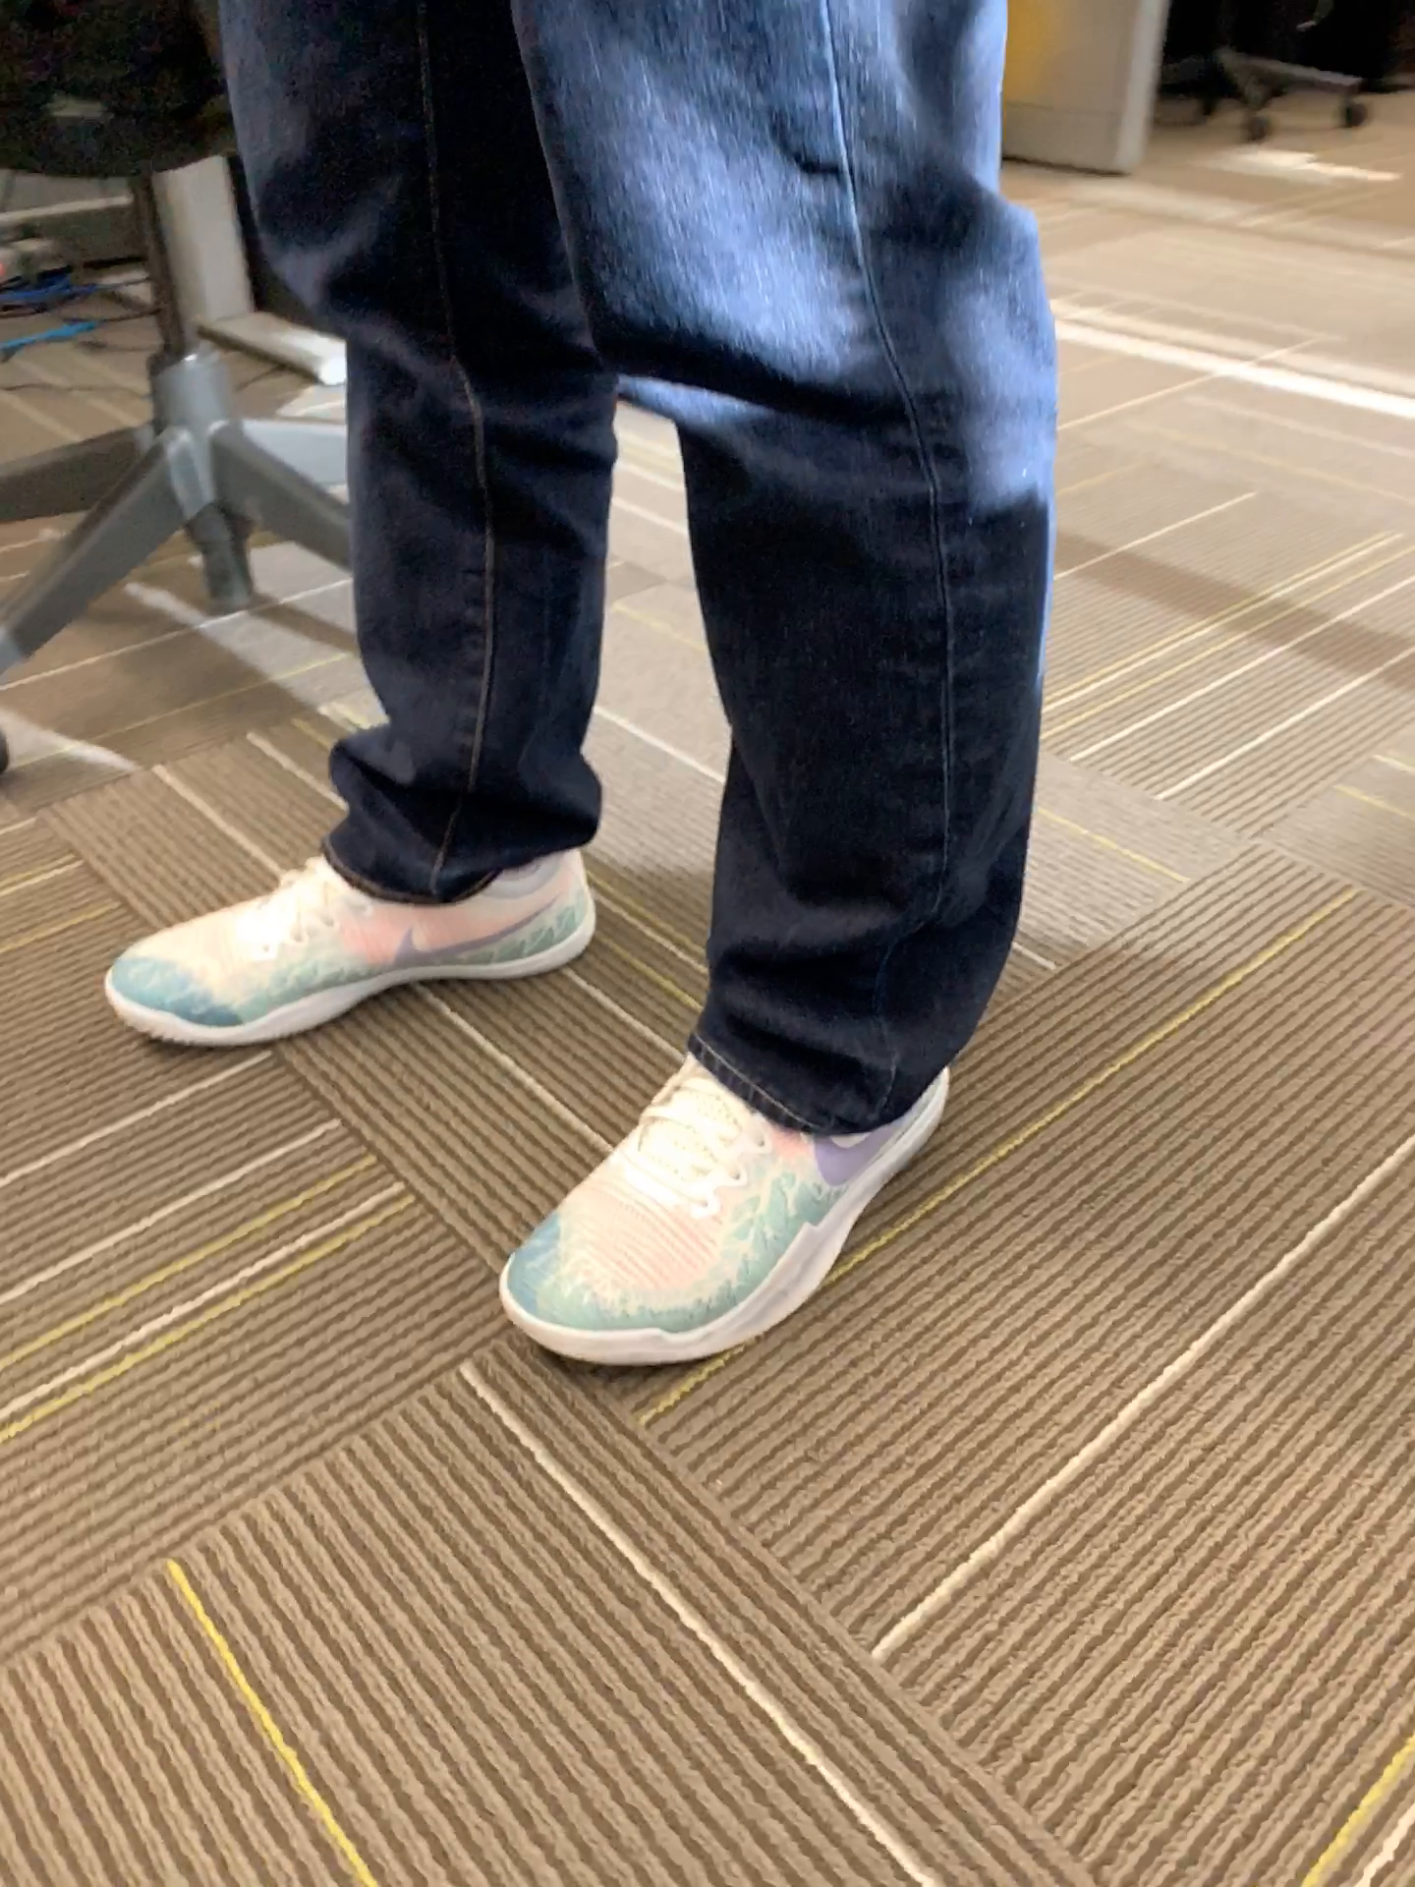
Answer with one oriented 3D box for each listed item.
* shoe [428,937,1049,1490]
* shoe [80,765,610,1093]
[{"bbox_3d":[0.024,0.114,0.710,0.290,0.078,0.123,-30,44,-33],"label":"shoe"},{"bbox_3d":[-0.212,-0.015,0.866,0.282,0.088,0.118,-13,38,-15],"label":"shoe"}]
